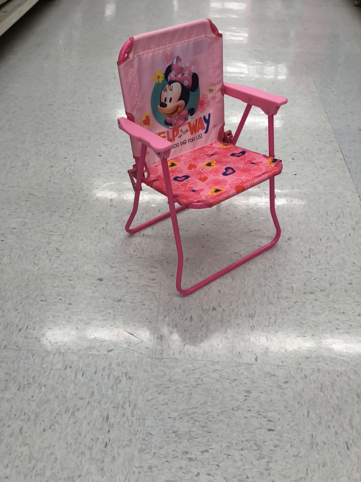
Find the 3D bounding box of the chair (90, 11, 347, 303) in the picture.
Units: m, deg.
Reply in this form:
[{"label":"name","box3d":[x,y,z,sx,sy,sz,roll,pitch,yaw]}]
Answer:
[{"label":"chair","box3d":[0.065,-0.197,0.939,0.360,0.488,0.341,-27,51,-24]}]
